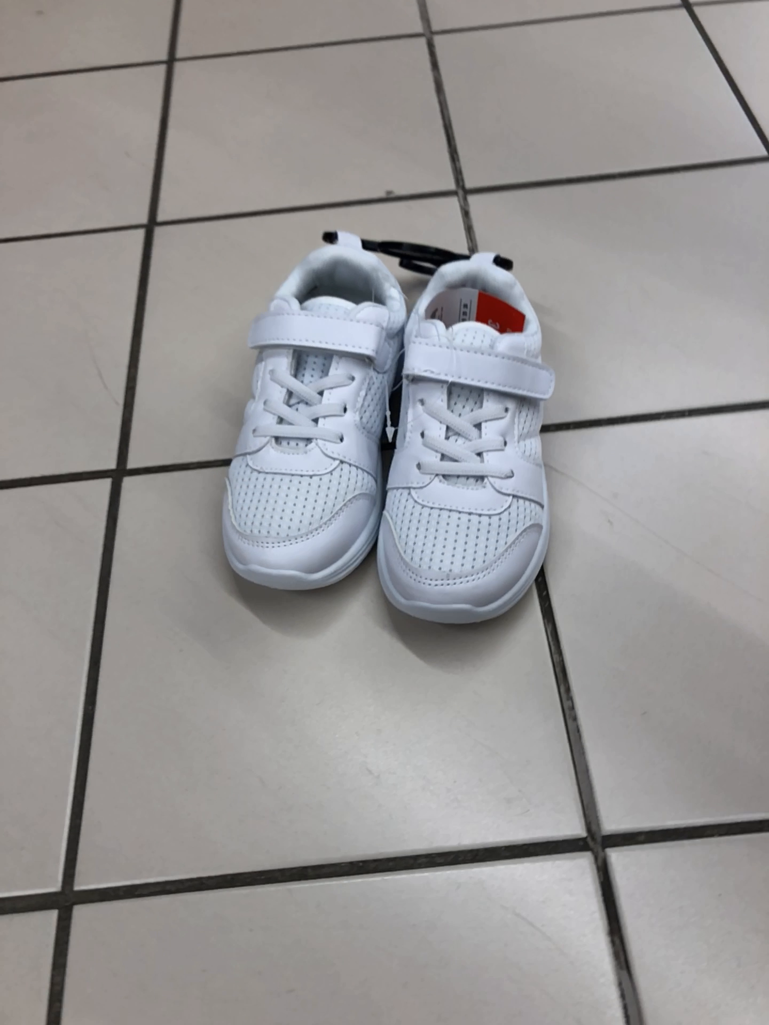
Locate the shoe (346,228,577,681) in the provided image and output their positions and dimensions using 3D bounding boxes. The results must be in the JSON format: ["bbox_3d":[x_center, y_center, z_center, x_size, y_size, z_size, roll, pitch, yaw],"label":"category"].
[{"bbox_3d":[0.043,-0.035,0.399,0.080,0.080,0.201,5,56,8],"label":"shoe"}]

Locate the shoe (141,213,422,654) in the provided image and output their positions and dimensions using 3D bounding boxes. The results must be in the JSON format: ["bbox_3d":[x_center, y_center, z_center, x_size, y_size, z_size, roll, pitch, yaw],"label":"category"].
[{"bbox_3d":[-0.036,-0.045,0.407,0.080,0.080,0.201,5,56,8],"label":"shoe"}]
